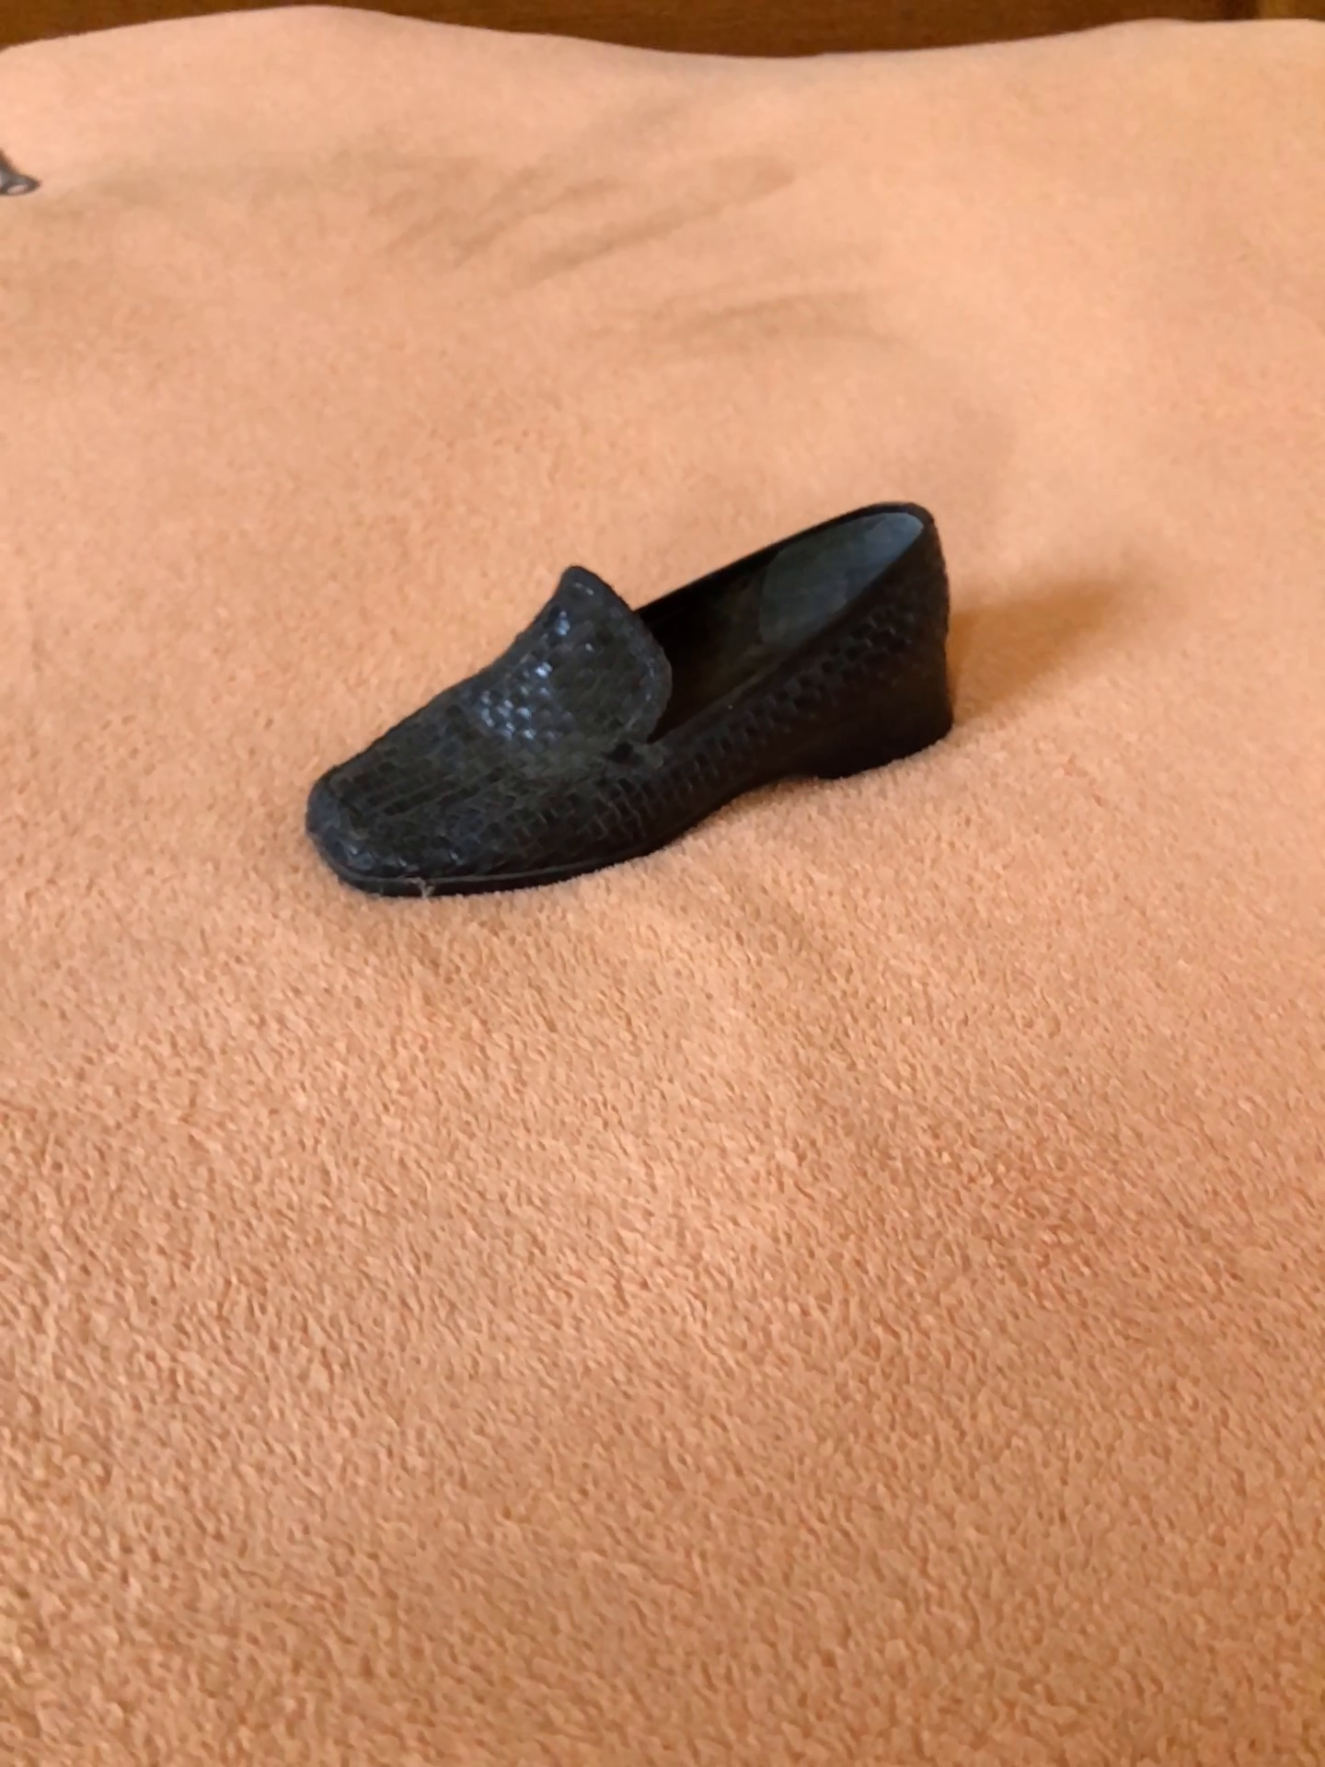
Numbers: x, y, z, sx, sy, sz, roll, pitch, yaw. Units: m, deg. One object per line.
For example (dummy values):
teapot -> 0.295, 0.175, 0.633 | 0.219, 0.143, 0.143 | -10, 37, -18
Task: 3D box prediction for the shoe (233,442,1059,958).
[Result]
shoe -> -0.001, -0.077, 0.533 | 0.271, 0.089, 0.100 | -18, 39, -21
